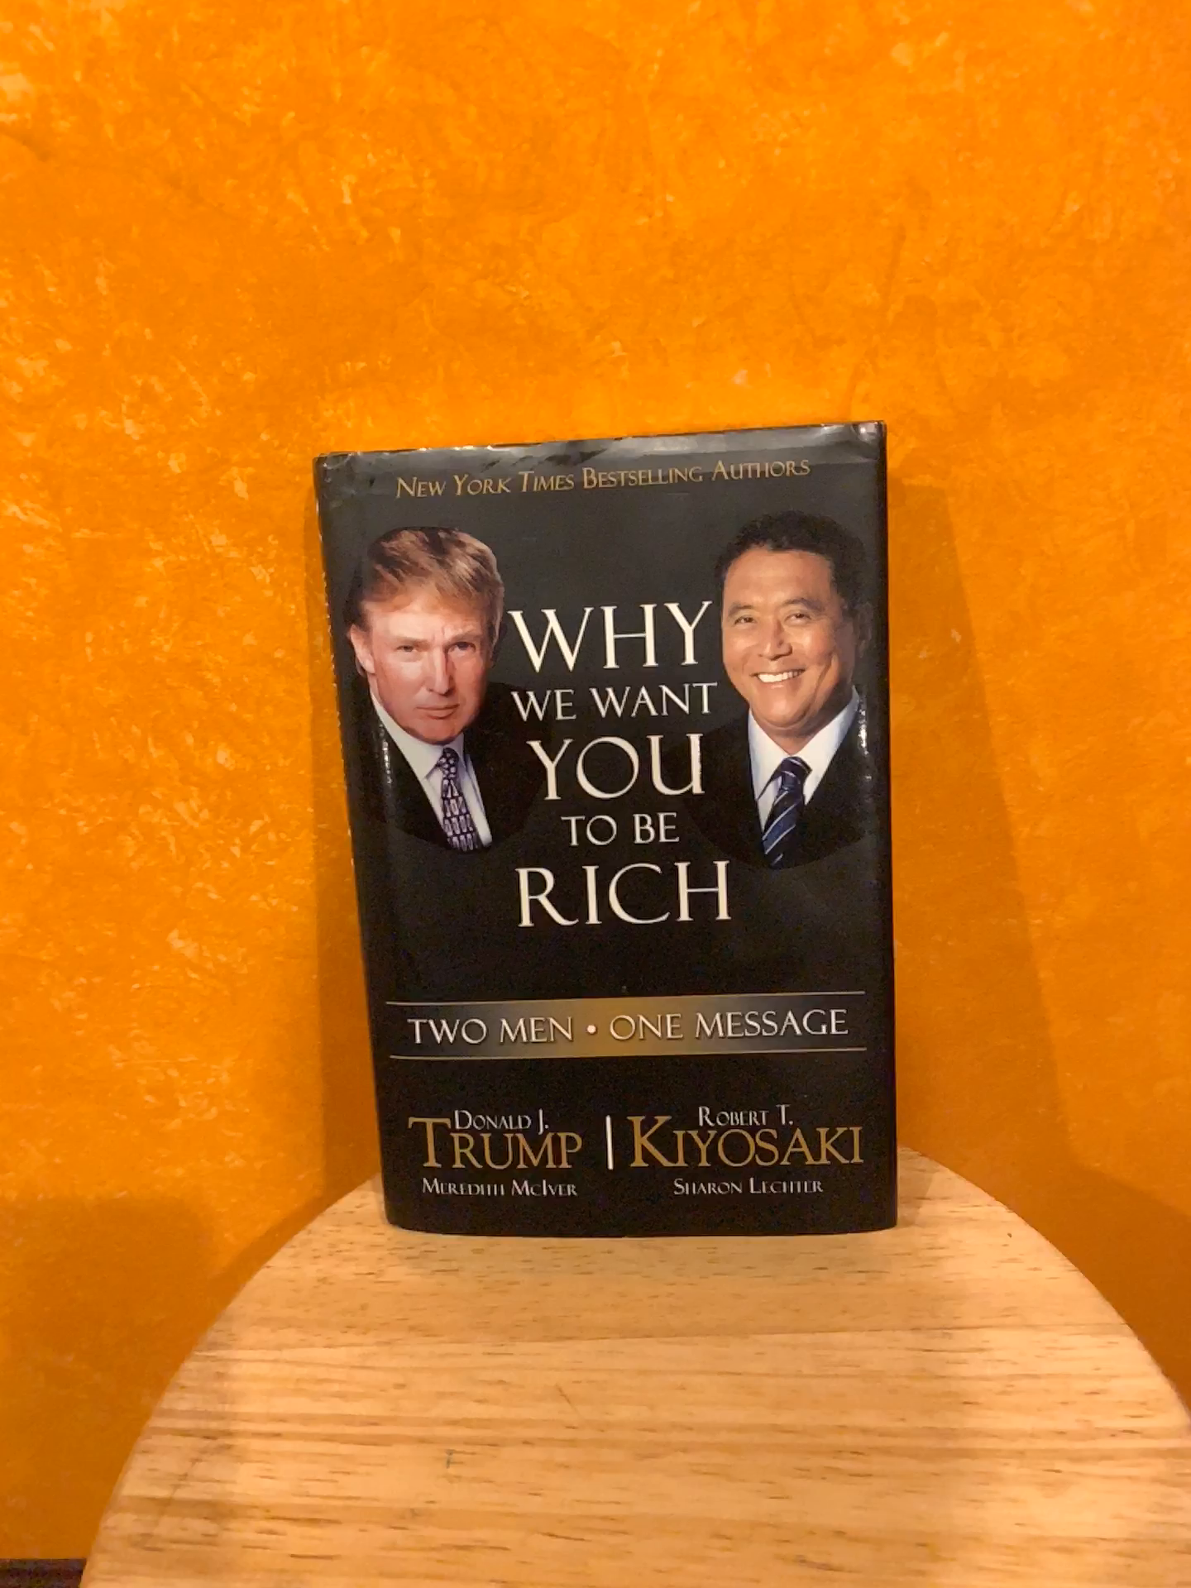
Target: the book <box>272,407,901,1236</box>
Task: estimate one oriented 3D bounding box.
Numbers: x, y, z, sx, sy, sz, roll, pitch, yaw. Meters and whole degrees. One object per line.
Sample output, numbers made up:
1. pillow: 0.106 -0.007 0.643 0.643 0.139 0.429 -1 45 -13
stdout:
1. book: 0.003 0.011 0.333 0.151 0.210 0.044 -2 11 6
